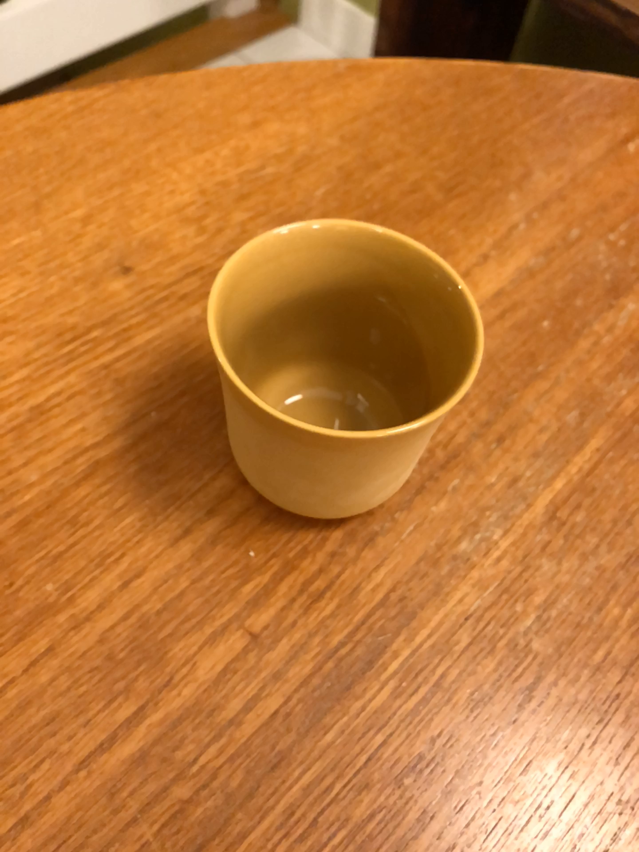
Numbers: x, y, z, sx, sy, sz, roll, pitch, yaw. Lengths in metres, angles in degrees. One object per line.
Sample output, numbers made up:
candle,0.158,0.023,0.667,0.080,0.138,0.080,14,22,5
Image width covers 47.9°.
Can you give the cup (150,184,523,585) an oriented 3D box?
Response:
cup,0.005,-0.011,0.226,0.077,0.073,0.074,3,58,-4
